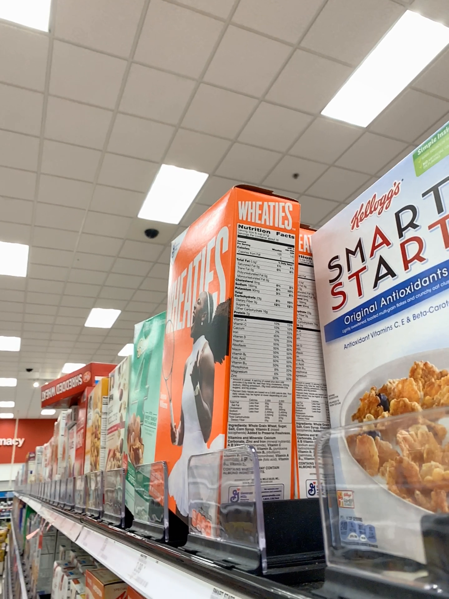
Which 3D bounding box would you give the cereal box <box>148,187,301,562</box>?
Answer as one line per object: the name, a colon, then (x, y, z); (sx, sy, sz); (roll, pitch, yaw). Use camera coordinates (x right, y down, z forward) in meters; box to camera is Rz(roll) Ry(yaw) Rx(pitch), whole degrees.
cereal box: (-0.008, 0.066, 0.466); (0.070, 0.291, 0.200); (7, -11, -22)
